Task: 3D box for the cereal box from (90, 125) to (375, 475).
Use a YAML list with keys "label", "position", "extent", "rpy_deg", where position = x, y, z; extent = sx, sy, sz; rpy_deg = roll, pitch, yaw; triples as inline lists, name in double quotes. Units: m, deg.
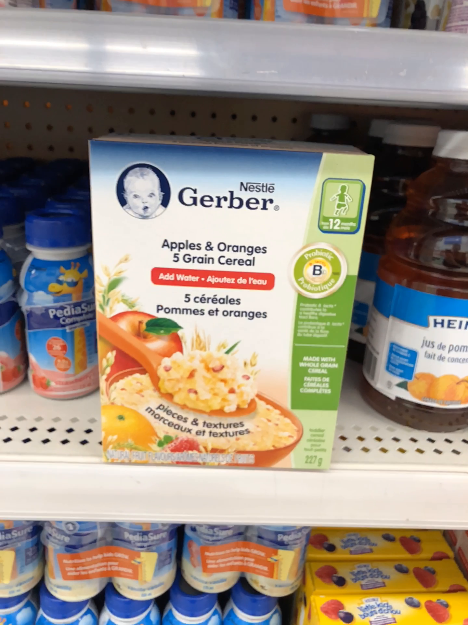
- label: "cereal box"
  position: [-0.007, -0.002, 0.317]
  extent: [0.140, 0.199, 0.050]
  rpy_deg: [3, 22, -3]
